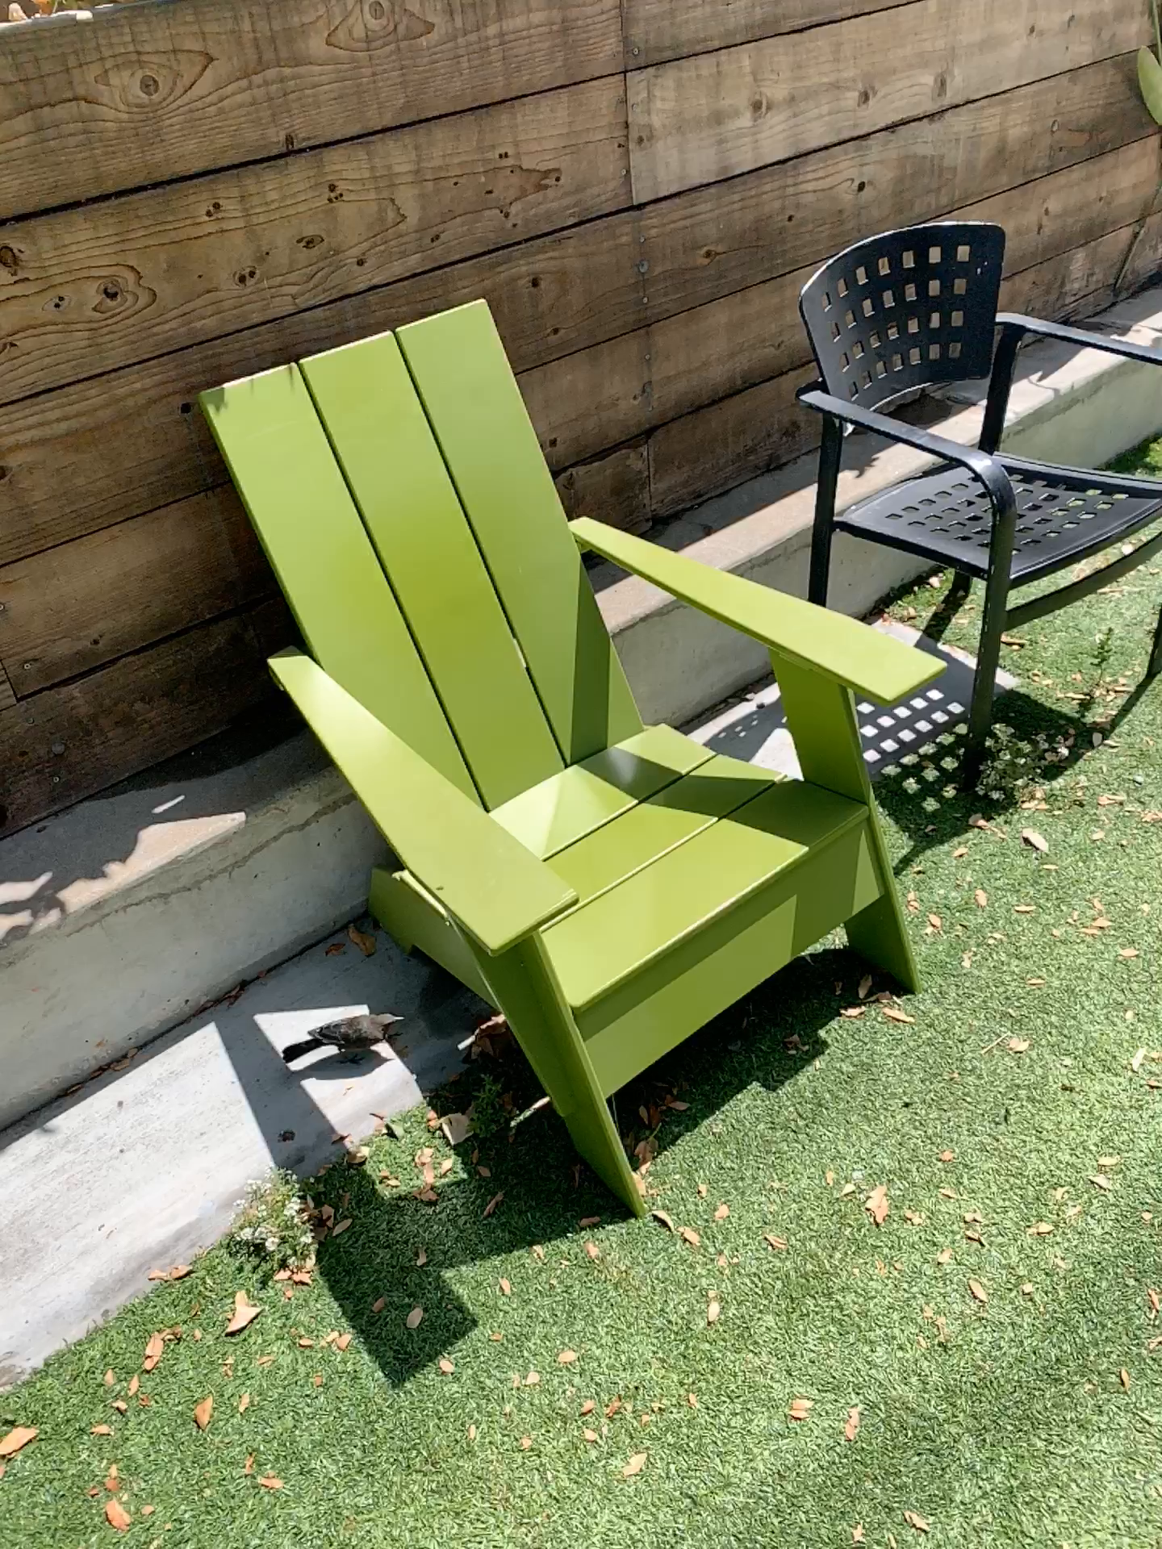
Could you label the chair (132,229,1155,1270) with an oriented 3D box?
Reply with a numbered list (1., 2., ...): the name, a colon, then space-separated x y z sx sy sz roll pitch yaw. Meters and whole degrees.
1. chair: 0.040 -0.112 1.574 0.721 0.845 0.905 -28 44 -25
